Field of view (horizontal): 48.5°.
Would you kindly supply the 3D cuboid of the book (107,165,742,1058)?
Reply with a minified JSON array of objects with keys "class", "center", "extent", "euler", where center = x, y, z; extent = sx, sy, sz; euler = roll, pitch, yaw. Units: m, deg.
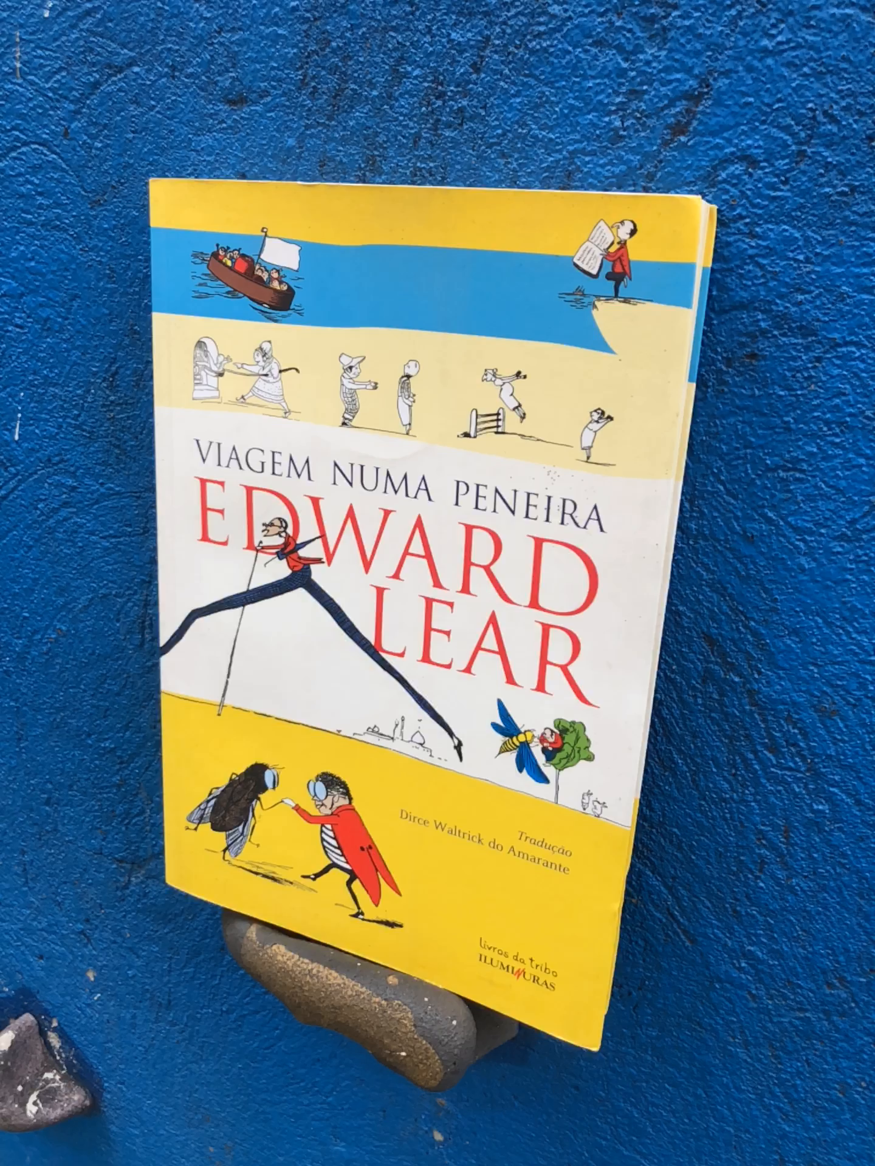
[{"class":"book","center":[-0.016,0.007,0.266],"extent":[0.158,0.219,0.022],"euler":[11,20,22]}]
